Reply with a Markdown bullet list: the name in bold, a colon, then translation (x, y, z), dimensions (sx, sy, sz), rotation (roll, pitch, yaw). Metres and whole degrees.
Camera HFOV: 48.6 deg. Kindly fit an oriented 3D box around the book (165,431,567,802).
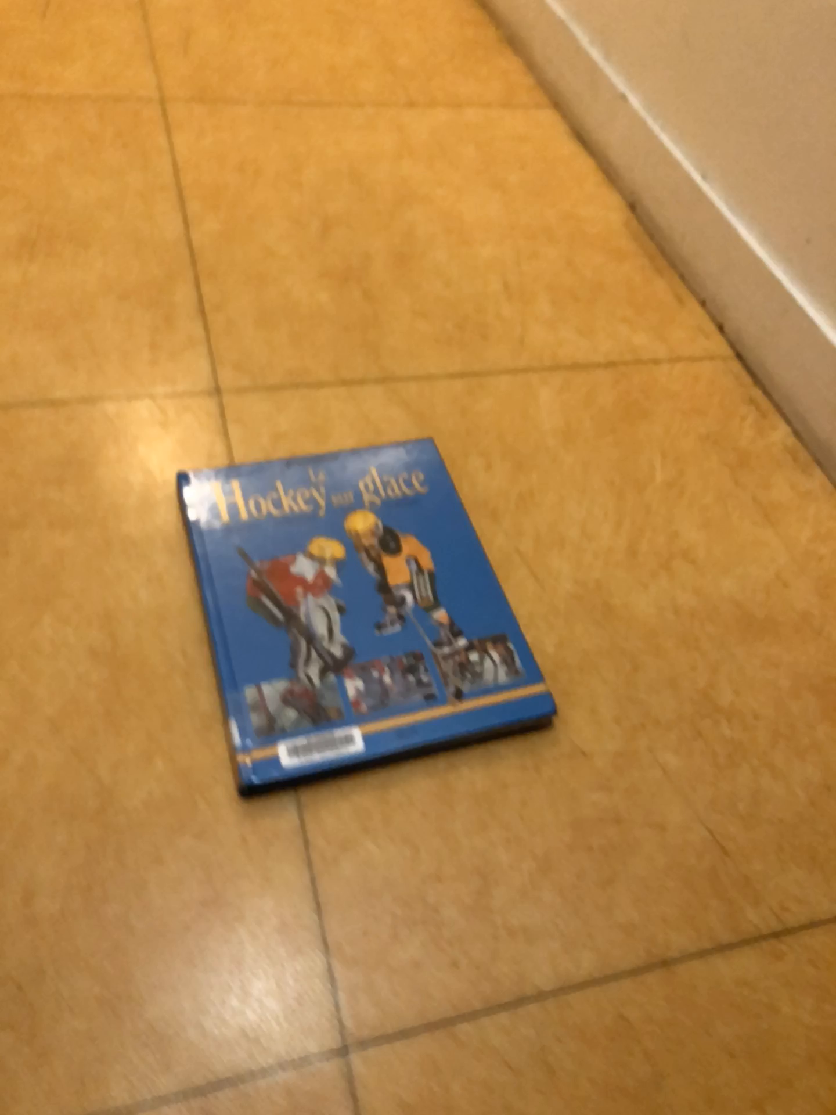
- **book**: translation (-0.046, 0.020, 0.637), dimensions (0.211, 0.020, 0.261), rotation (-9, 53, -18)
